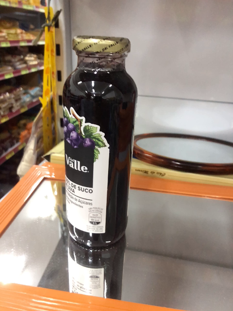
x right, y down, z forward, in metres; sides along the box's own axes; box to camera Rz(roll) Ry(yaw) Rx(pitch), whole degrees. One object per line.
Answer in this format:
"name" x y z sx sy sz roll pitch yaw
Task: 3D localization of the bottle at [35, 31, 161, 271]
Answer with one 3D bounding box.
"bottle" -0.018 -0.004 0.232 0.070 0.189 0.060 20 30 32
